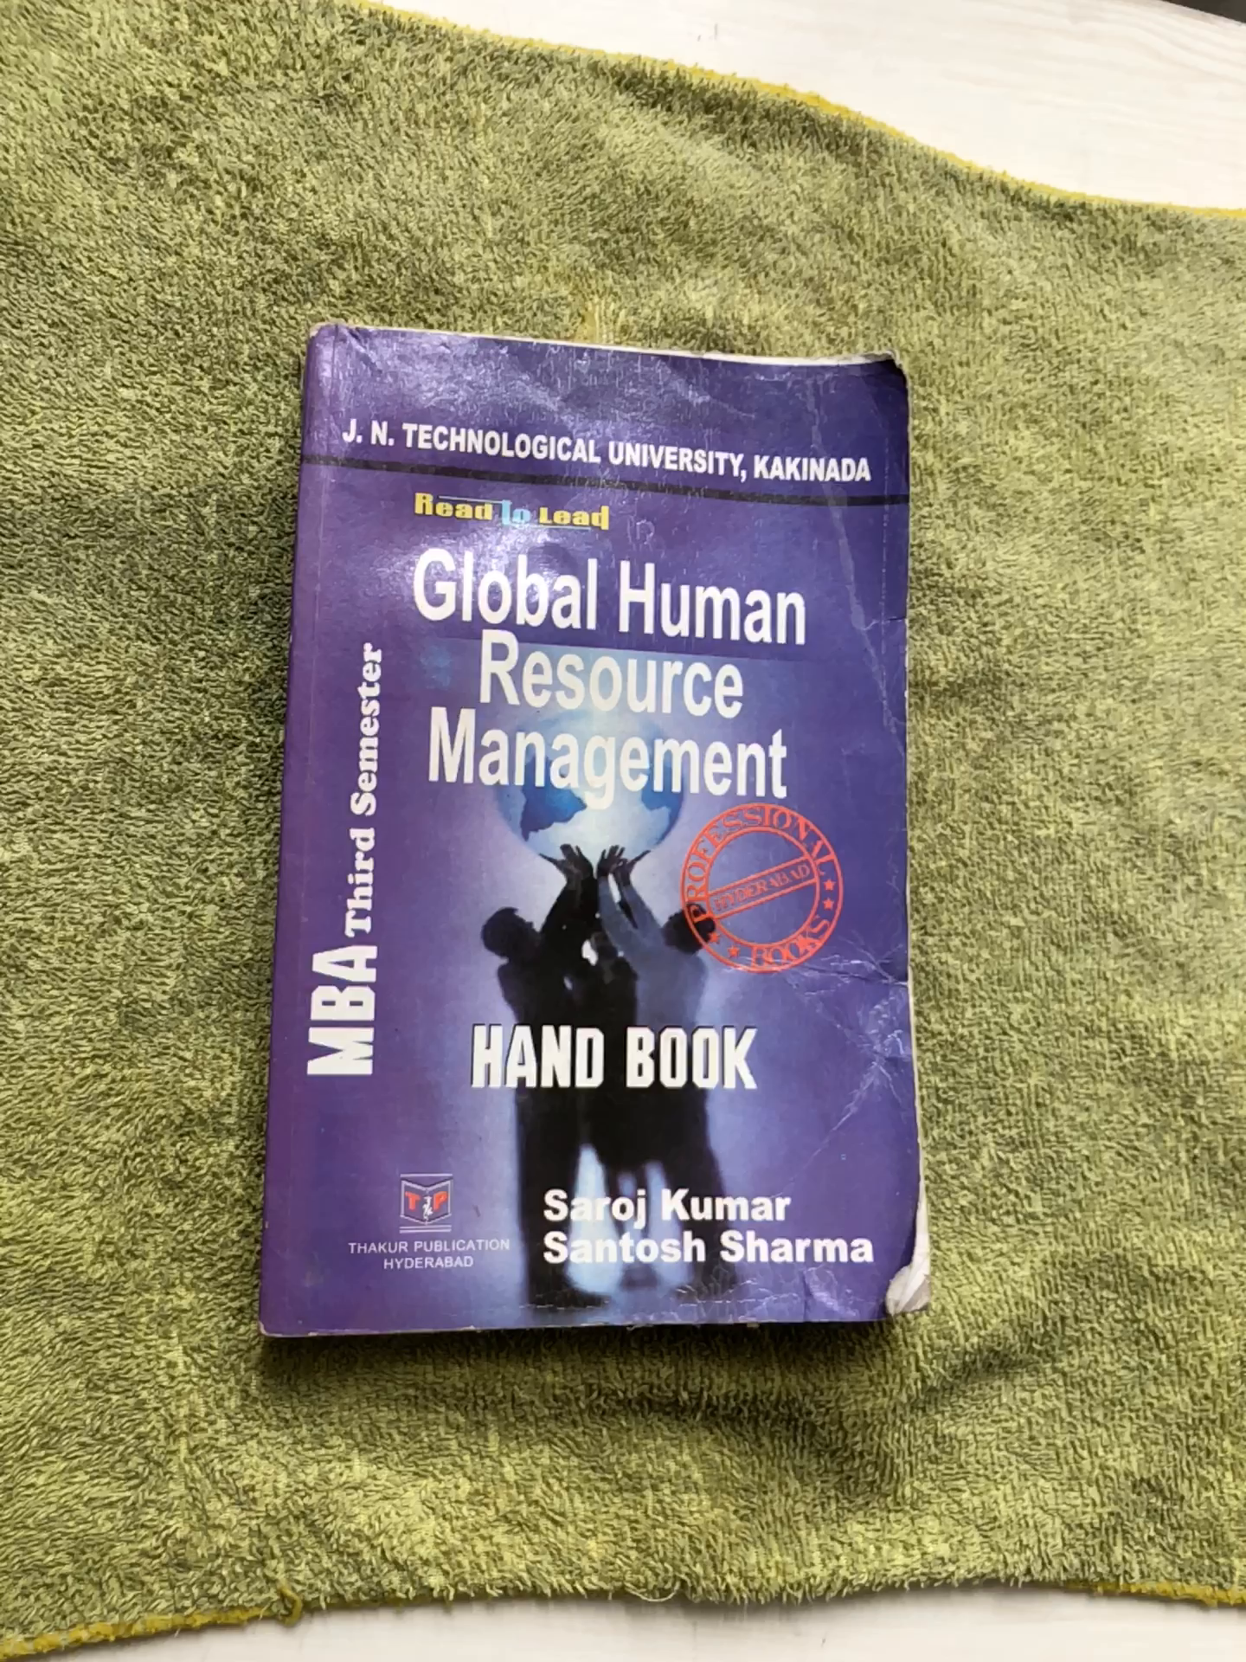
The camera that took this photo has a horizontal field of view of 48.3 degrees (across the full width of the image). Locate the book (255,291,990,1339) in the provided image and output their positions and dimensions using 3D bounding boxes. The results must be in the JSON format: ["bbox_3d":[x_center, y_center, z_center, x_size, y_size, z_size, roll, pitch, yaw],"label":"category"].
[{"bbox_3d":[0.000,-0.003,0.294,0.140,0.040,0.200,2,82,-10],"label":"book"}]
